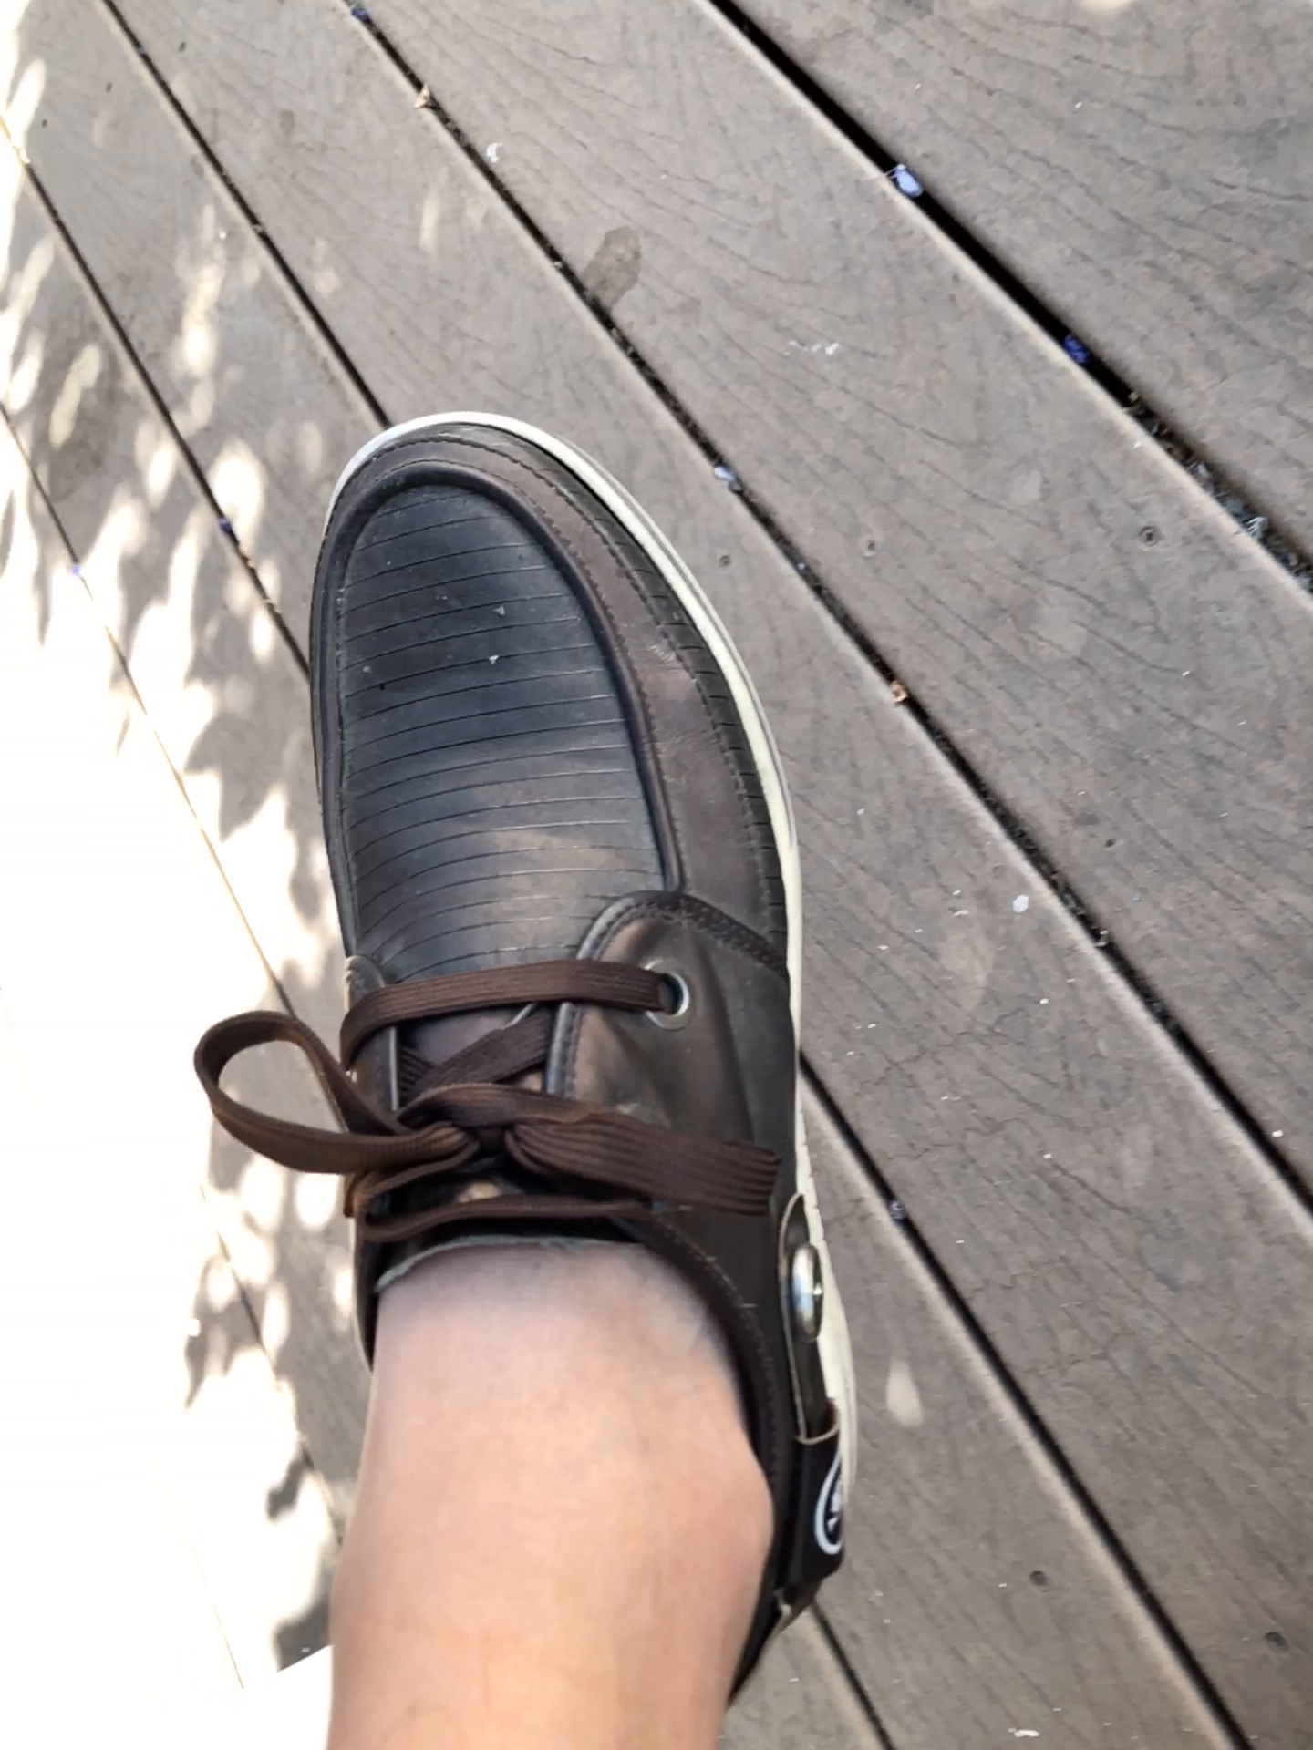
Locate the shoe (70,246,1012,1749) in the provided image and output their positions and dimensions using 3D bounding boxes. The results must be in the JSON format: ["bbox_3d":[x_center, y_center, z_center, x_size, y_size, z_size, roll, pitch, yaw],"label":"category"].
[{"bbox_3d":[-0.015,0.043,0.320,0.119,0.104,0.295,-12,91,19],"label":"shoe"}]
